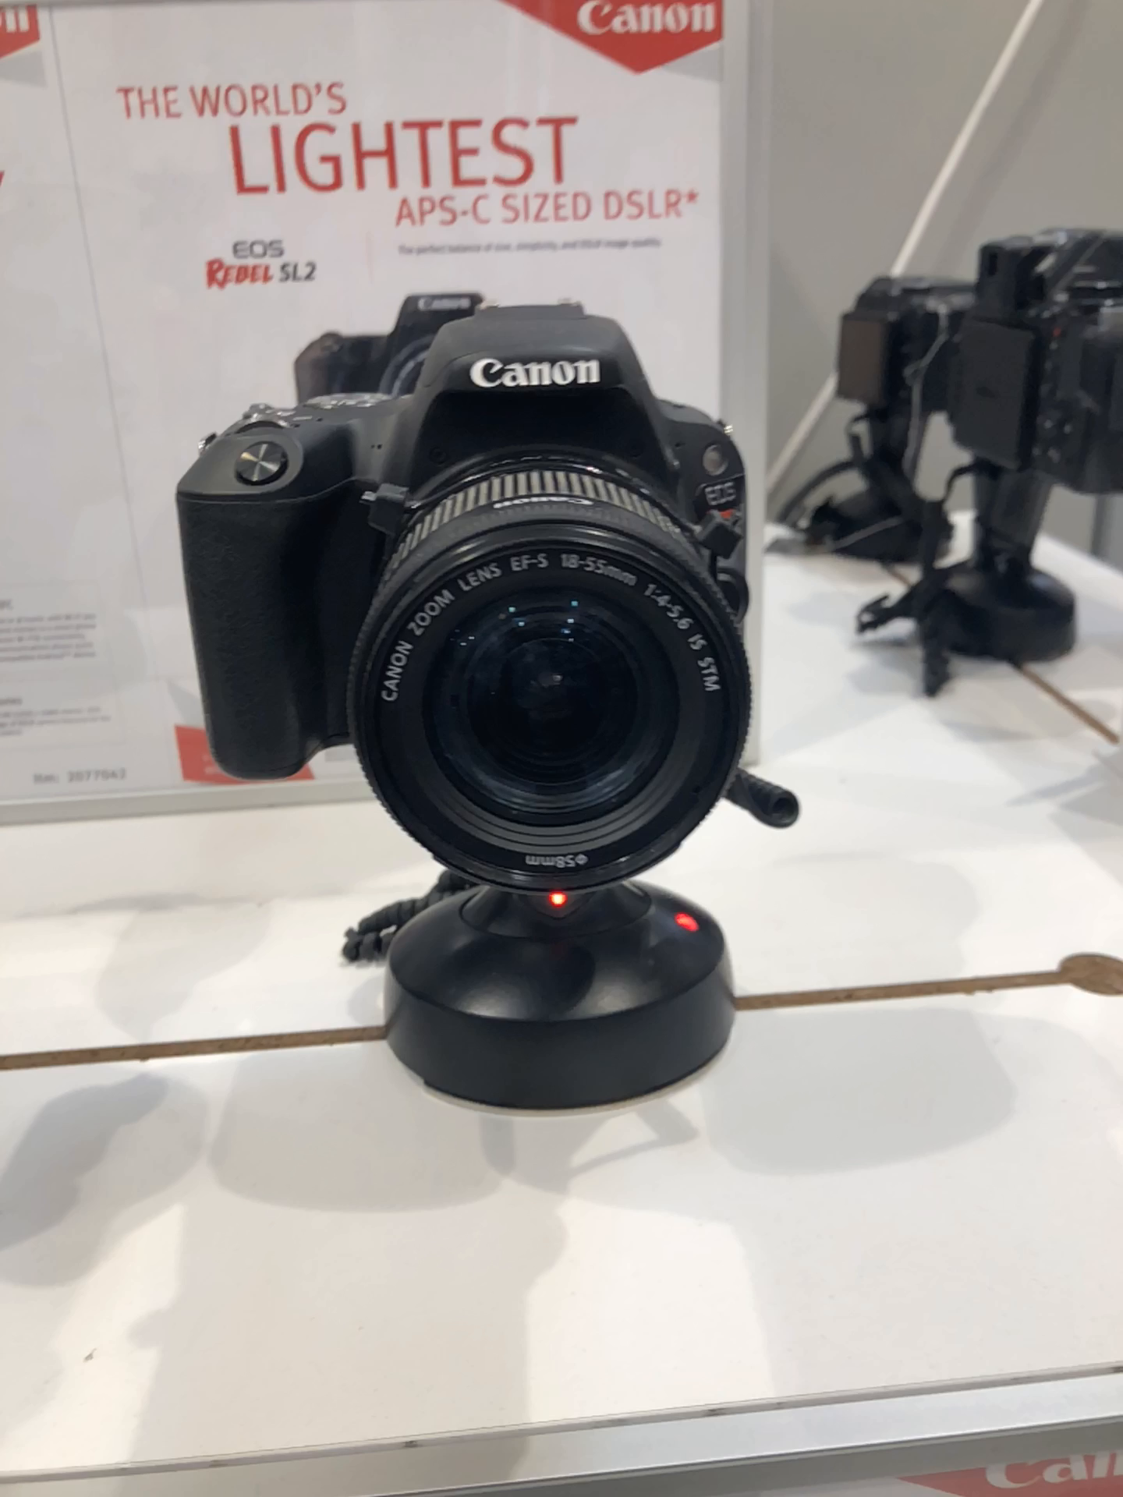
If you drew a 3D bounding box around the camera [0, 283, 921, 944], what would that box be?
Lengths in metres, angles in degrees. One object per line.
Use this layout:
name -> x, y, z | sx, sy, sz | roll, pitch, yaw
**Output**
camera -> -0.018, -0.037, 0.239 | 0.130, 0.090, 0.121 | -3, 22, -3
